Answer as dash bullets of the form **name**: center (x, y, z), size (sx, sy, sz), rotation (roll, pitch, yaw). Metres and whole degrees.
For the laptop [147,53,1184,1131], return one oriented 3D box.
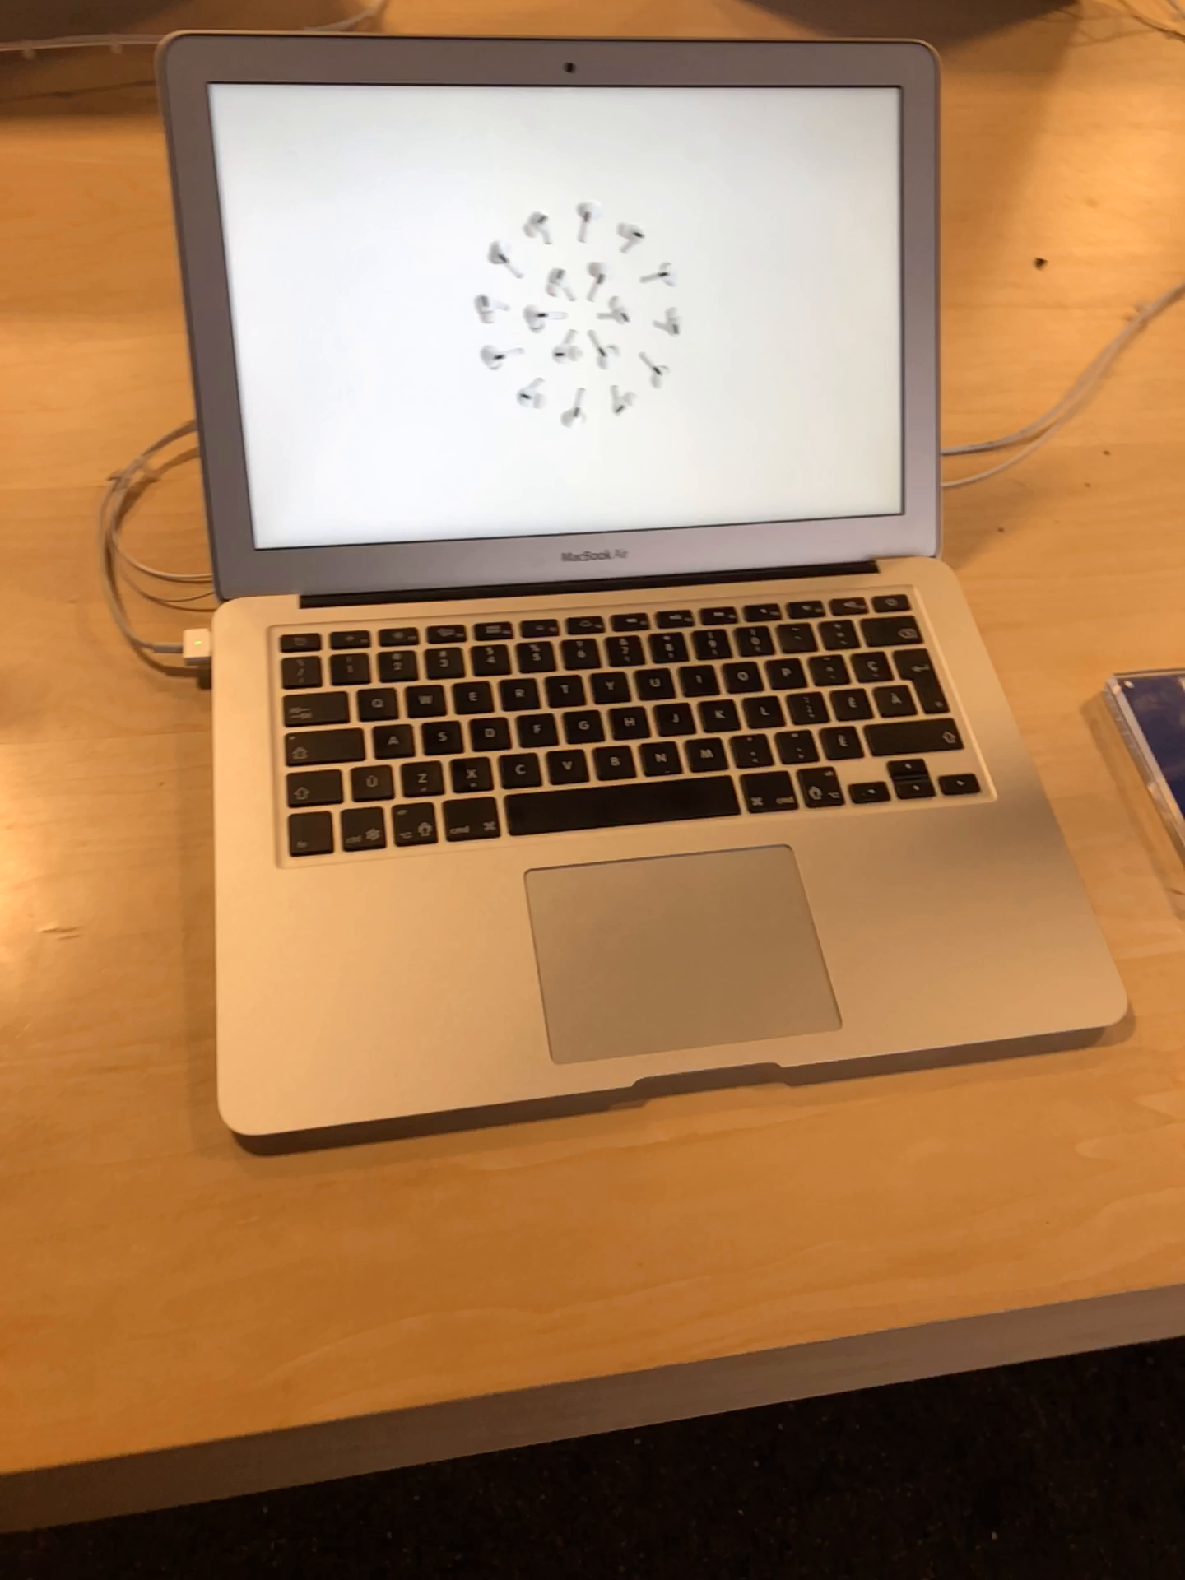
- **laptop**: center (0.016, -0.101, 0.482), size (0.311, 0.151, 0.372), rotation (-5, 56, -10)
